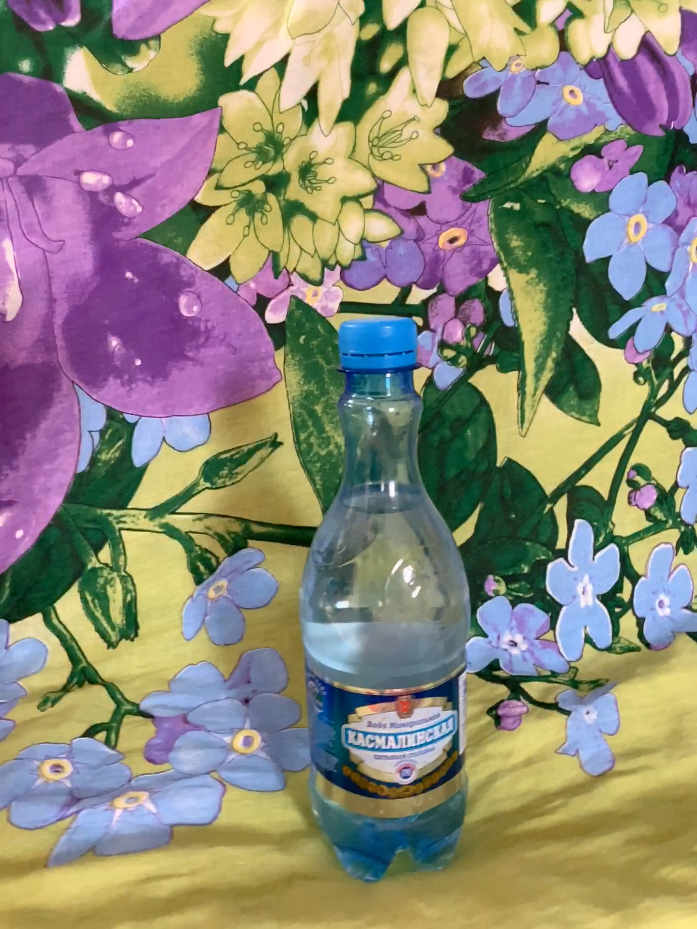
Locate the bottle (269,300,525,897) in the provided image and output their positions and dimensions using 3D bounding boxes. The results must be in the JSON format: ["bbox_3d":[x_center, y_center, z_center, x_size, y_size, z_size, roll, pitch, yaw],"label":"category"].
[{"bbox_3d":[0.018,0.050,0.290,0.080,0.219,0.070,-5,16,-7],"label":"bottle"}]
